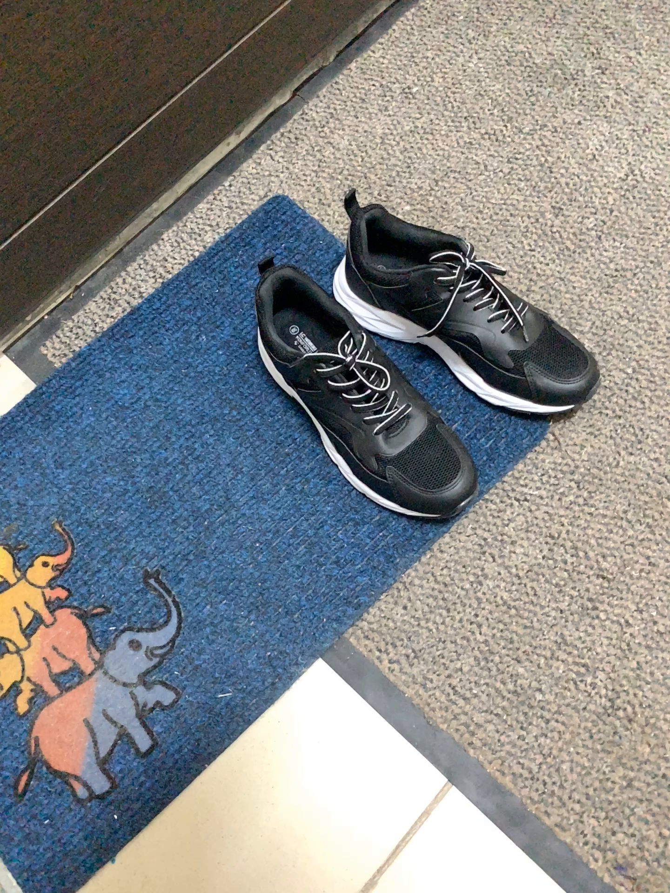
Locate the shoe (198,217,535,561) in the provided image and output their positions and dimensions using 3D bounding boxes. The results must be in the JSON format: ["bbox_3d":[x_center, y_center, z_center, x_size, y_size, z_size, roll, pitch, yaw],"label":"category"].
[{"bbox_3d":[0.020,-0.048,0.564,0.110,0.100,0.260,-40,71,-8],"label":"shoe"}]

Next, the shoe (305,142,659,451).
[{"bbox_3d":[0.114,-0.129,0.587,0.260,0.100,0.110,37,78,17],"label":"shoe"}]
